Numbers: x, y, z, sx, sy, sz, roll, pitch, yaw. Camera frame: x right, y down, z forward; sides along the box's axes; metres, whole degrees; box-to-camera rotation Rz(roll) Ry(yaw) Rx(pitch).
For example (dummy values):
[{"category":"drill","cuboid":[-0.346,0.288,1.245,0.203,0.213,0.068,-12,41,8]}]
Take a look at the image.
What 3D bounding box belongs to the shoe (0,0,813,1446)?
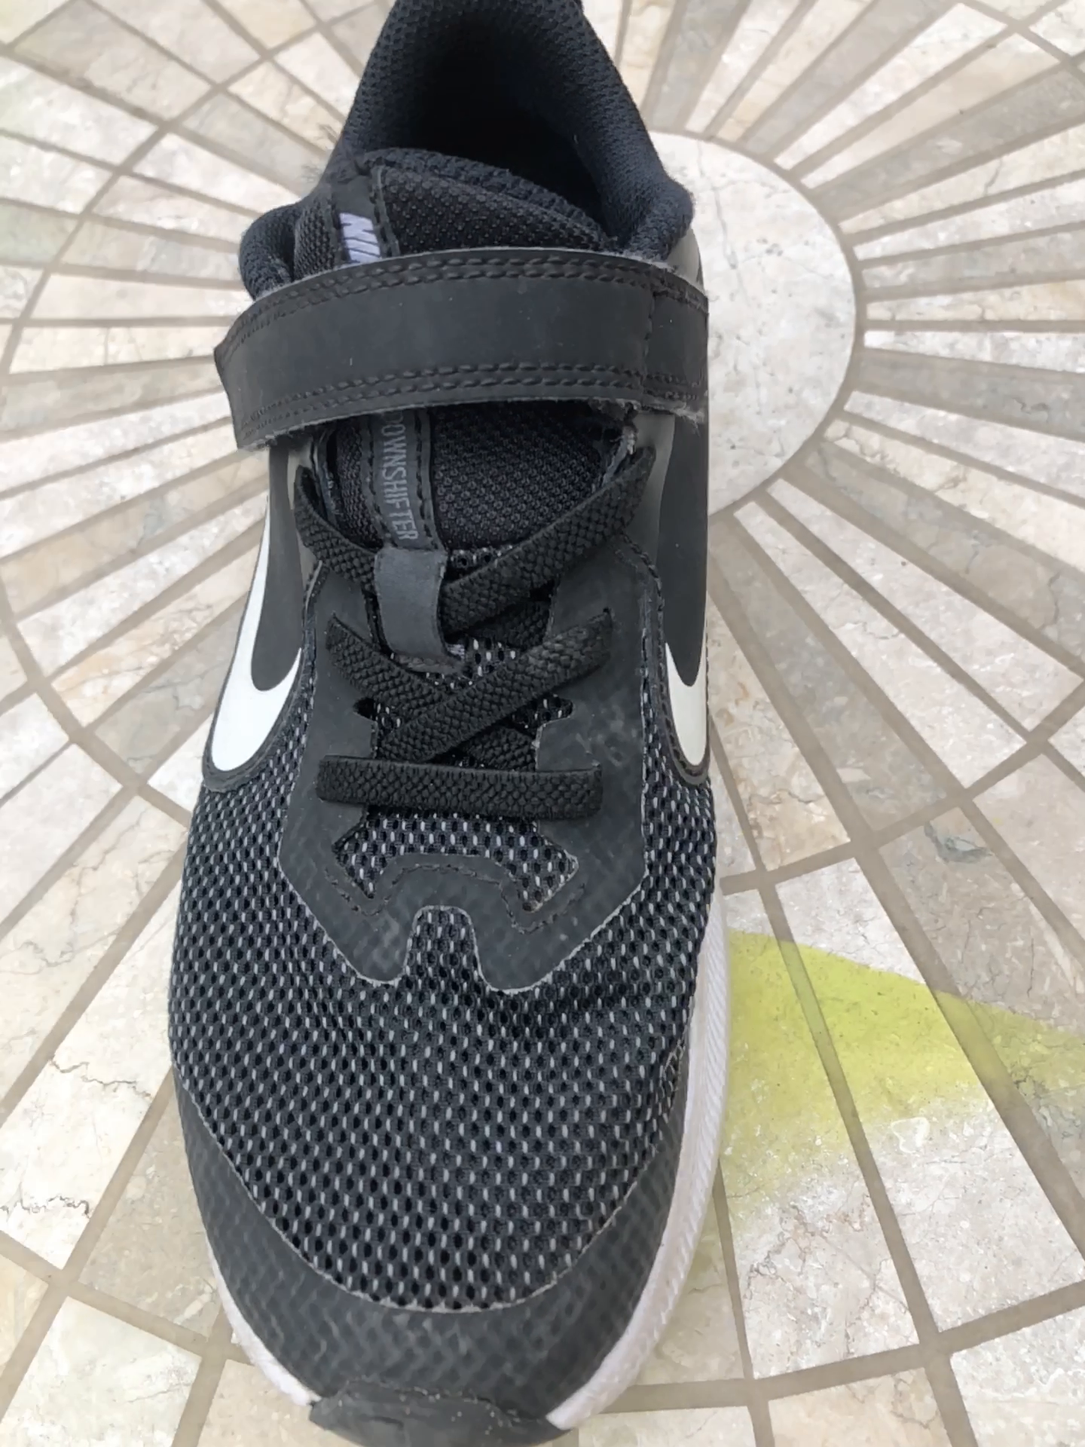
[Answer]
[{"category":"shoe","cuboid":[-0.014,-0.018,0.193,0.100,0.100,0.251,0,65,9]}]
